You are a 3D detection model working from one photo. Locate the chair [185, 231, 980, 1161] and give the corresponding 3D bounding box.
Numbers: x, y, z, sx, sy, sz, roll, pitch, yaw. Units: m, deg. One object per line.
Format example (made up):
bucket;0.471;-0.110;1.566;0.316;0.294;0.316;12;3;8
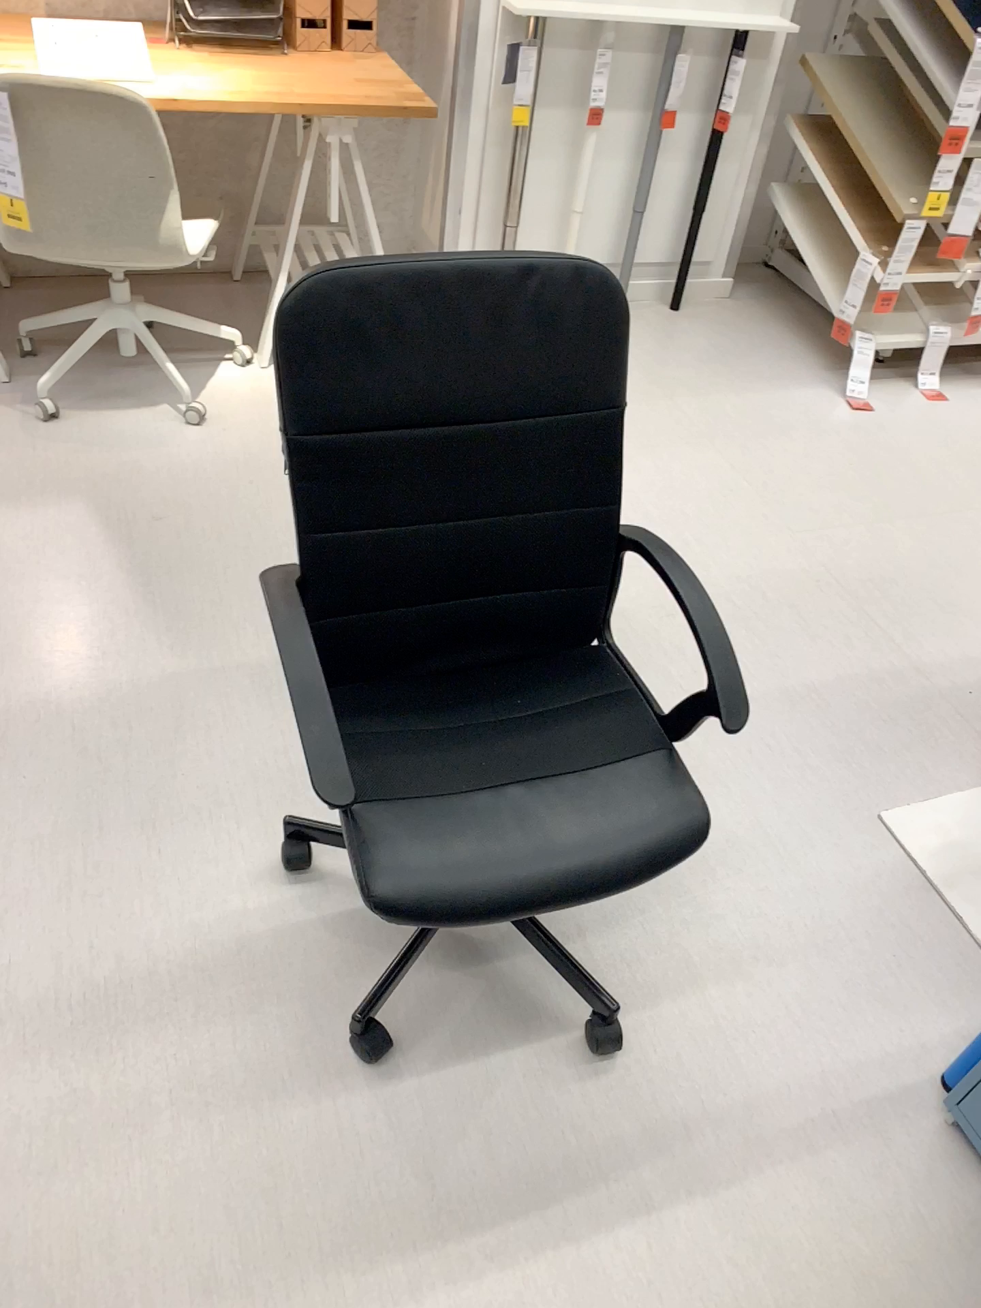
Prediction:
chair;0.005;0.069;1.305;0.611;0.996;0.582;-10;45;-20
